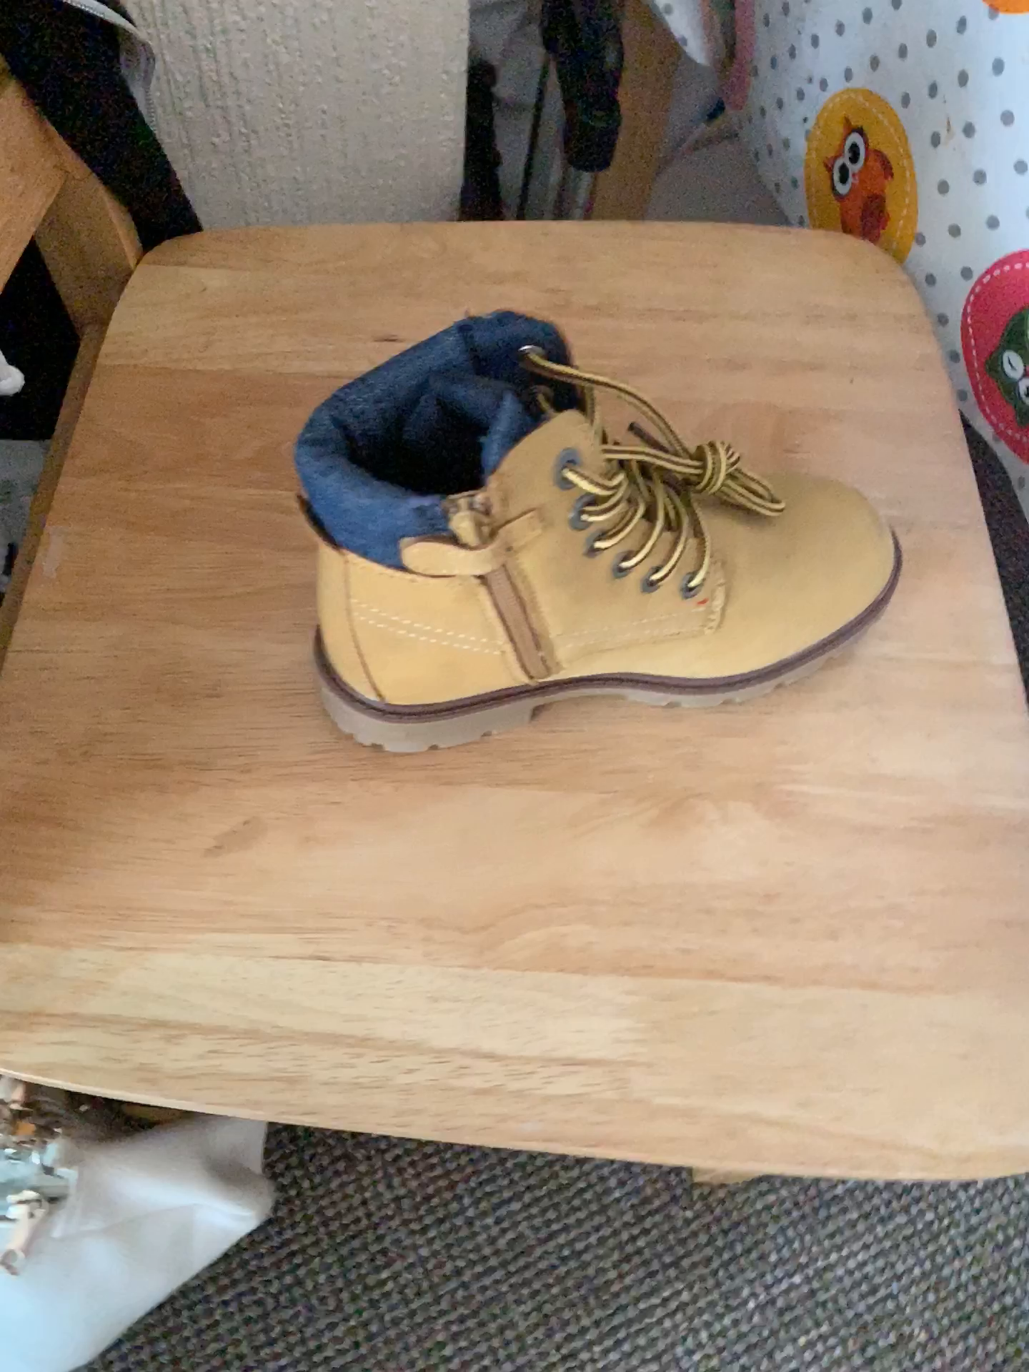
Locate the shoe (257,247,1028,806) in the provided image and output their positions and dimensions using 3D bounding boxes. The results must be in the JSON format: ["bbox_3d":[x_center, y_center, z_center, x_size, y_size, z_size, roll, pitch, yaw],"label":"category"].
[{"bbox_3d":[0.042,-0.050,0.368,0.230,0.139,0.101,-10,64,-10],"label":"shoe"}]
